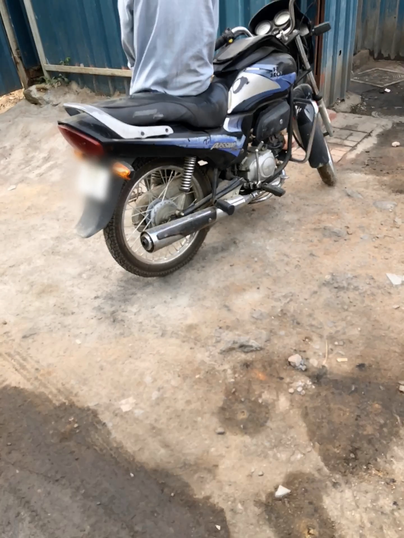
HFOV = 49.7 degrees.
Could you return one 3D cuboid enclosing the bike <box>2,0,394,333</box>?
[{"bbox_3d":[0.148,-0.808,2.265,0.785,1.154,1.808,25,47,36],"label":"bike"}]
